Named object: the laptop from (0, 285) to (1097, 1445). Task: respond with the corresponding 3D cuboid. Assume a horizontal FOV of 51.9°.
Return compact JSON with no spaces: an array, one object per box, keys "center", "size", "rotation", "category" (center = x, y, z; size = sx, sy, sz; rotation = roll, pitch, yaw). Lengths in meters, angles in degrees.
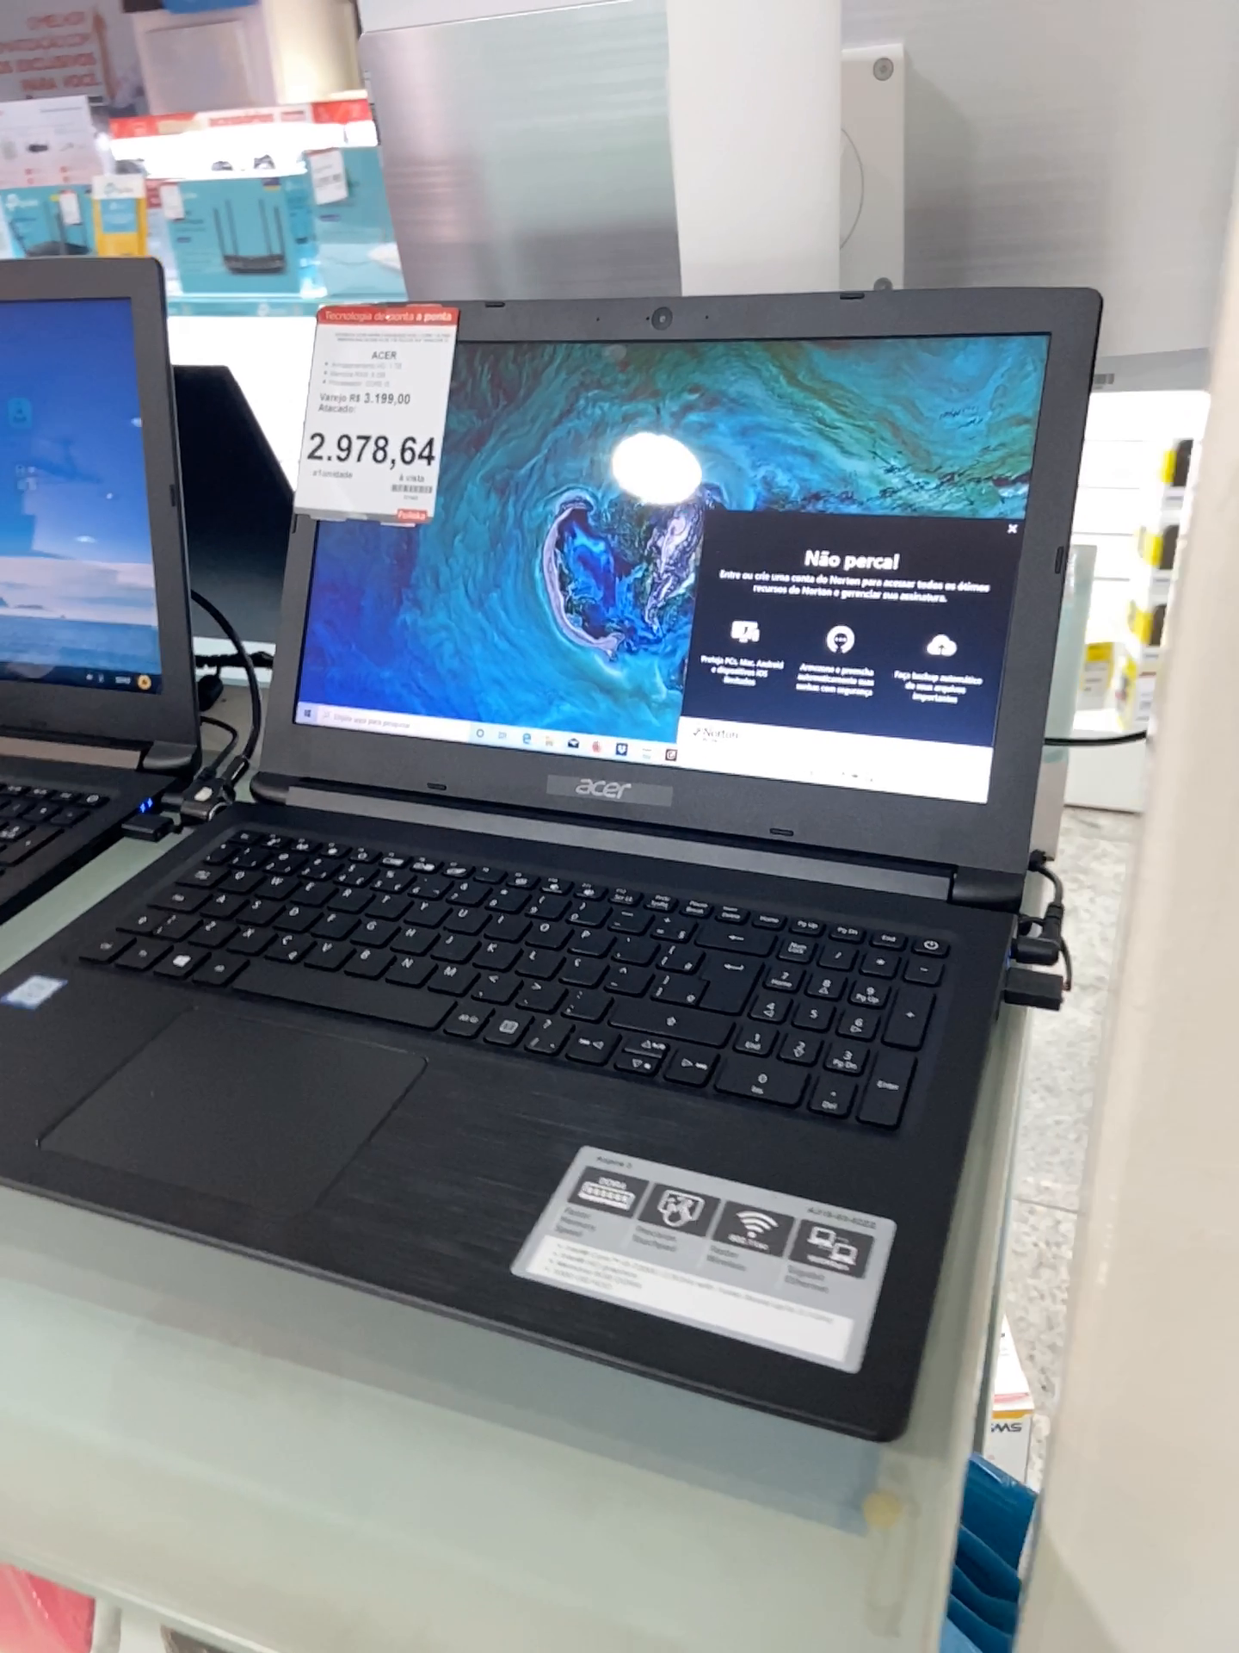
[{"center":[-0.042,-0.058,0.472],"size":[0.369,0.205,0.377],"rotation":[7,31,21],"category":"laptop"}]
